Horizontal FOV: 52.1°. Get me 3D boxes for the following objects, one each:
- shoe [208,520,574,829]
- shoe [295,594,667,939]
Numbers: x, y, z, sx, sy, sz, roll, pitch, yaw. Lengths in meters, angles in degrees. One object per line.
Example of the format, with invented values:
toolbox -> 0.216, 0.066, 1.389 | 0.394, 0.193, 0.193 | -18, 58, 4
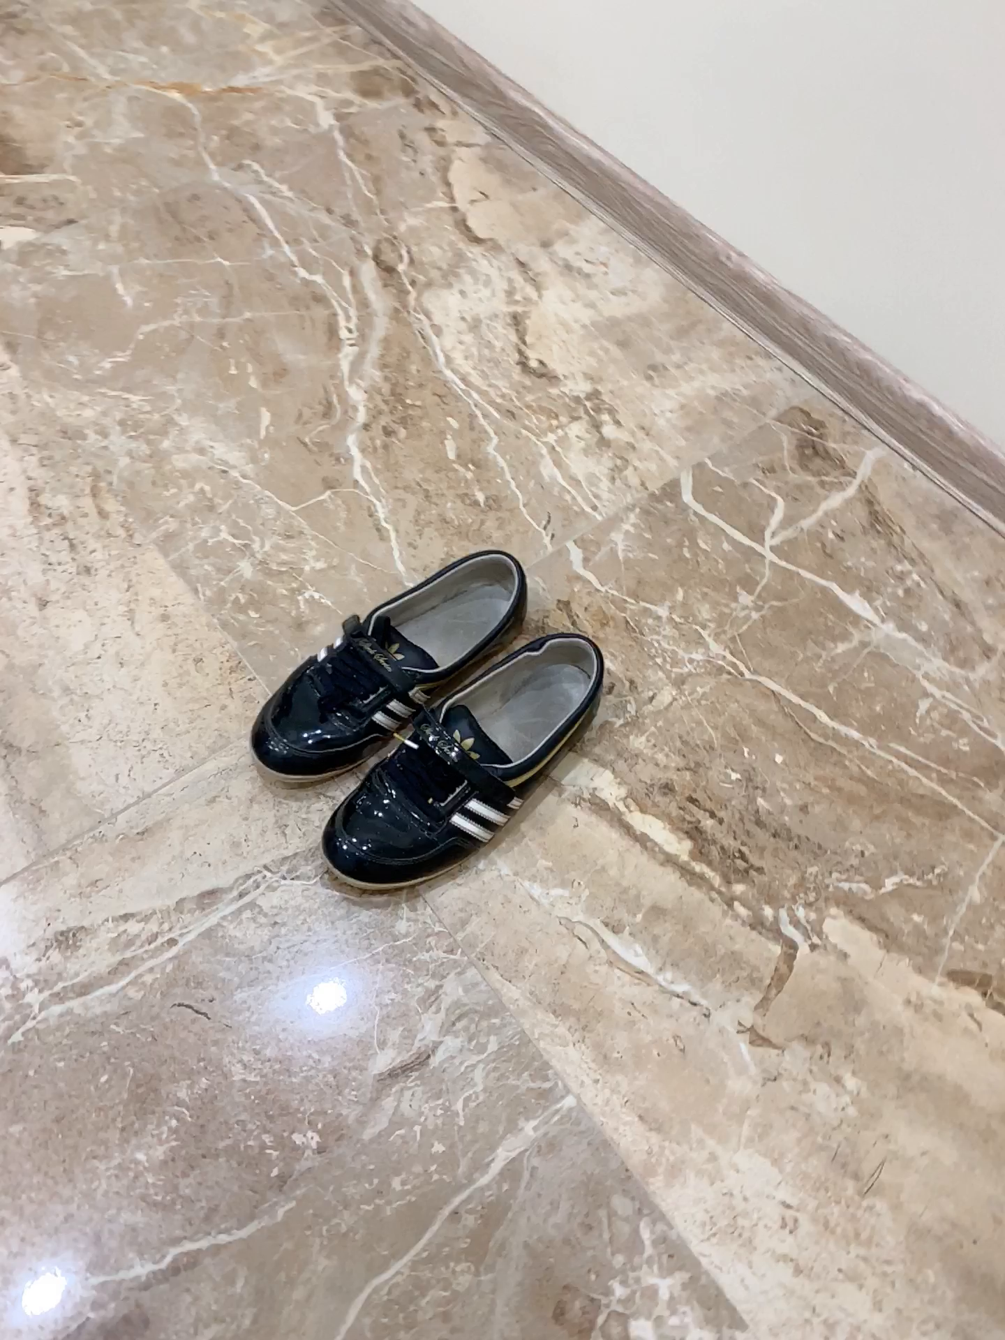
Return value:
shoe -> -0.074, -0.002, 0.731 | 0.240, 0.060, 0.095 | -33, 66, -22
shoe -> -0.011, 0.059, 0.695 | 0.240, 0.060, 0.095 | -37, 67, -23
